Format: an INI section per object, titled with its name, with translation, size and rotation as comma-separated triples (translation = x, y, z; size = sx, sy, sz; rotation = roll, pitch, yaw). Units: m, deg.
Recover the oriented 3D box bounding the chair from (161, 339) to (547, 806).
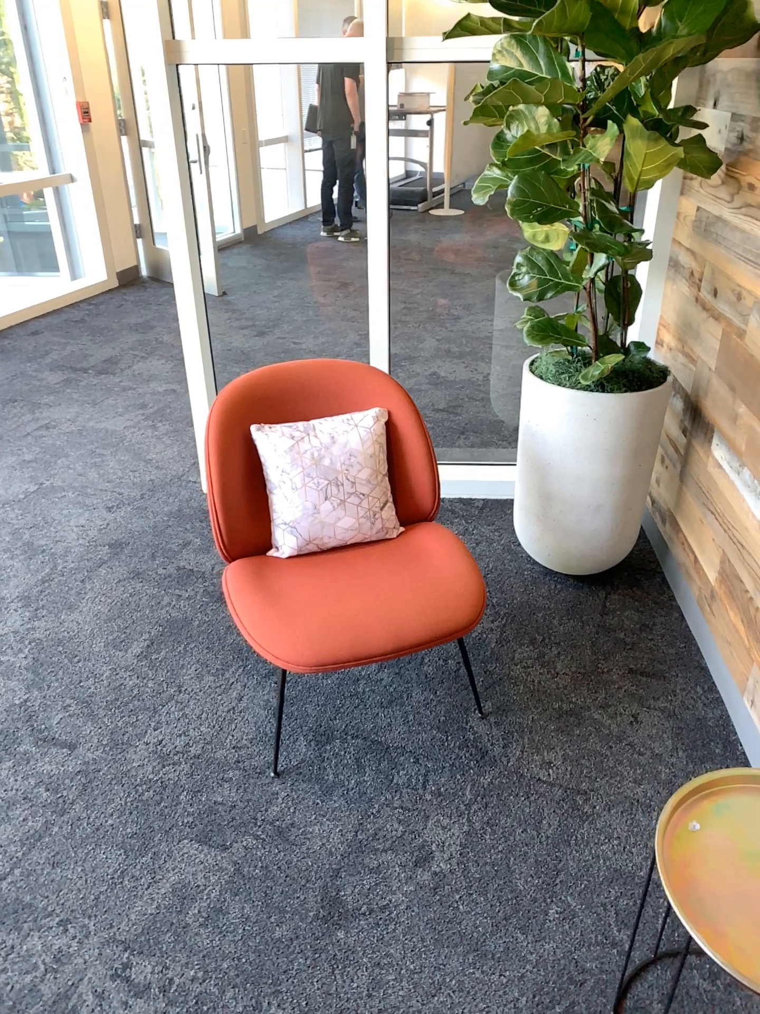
[chair]
translation = -0.102, 0.108, 1.939
size = 0.700, 0.795, 0.704
rotation = -10, 31, -15
